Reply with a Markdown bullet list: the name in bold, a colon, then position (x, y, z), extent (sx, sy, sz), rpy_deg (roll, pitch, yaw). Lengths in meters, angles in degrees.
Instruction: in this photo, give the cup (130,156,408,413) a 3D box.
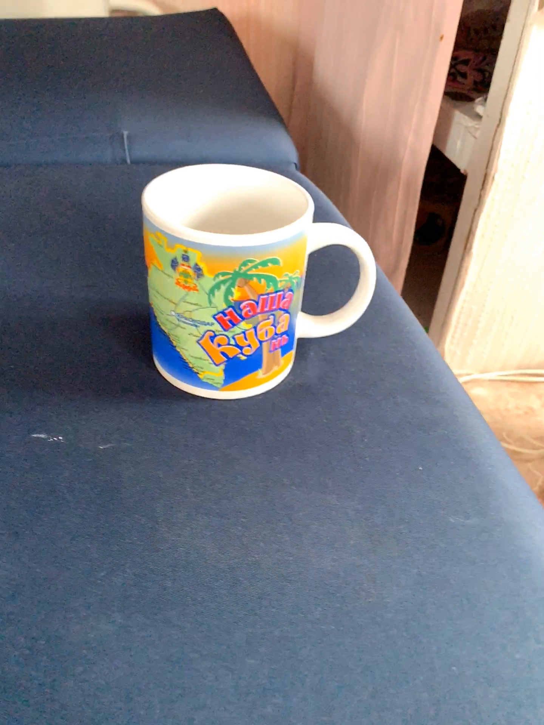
- **cup**: position (-0.008, -0.045, 0.306), extent (0.120, 0.099, 0.091), rpy_deg (-4, 40, -8)
